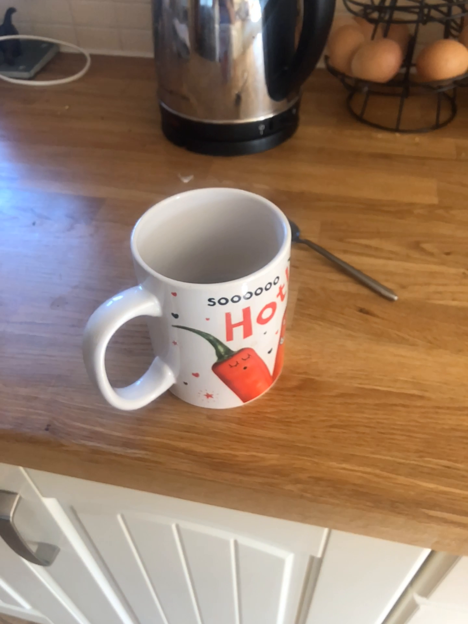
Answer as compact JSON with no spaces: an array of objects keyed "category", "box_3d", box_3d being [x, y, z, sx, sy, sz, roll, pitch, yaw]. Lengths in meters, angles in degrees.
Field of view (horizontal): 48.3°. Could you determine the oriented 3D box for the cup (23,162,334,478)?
[{"category":"cup","box_3d":[-0.028,0.000,0.319,0.136,0.109,0.097,-31,53,-25]}]
